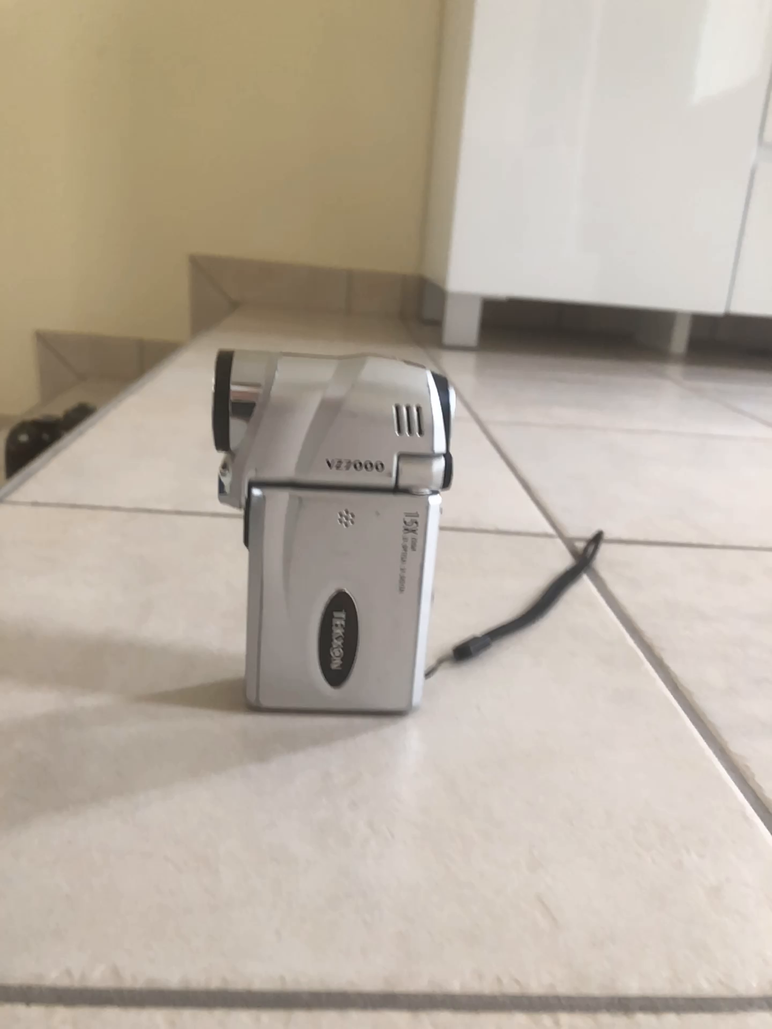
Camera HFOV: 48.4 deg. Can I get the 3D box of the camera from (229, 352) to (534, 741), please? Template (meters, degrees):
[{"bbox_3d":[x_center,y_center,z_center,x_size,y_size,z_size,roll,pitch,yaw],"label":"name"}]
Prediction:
[{"bbox_3d":[-0.005,0.010,0.266,0.080,0.110,0.040,3,17,-6],"label":"camera"}]
